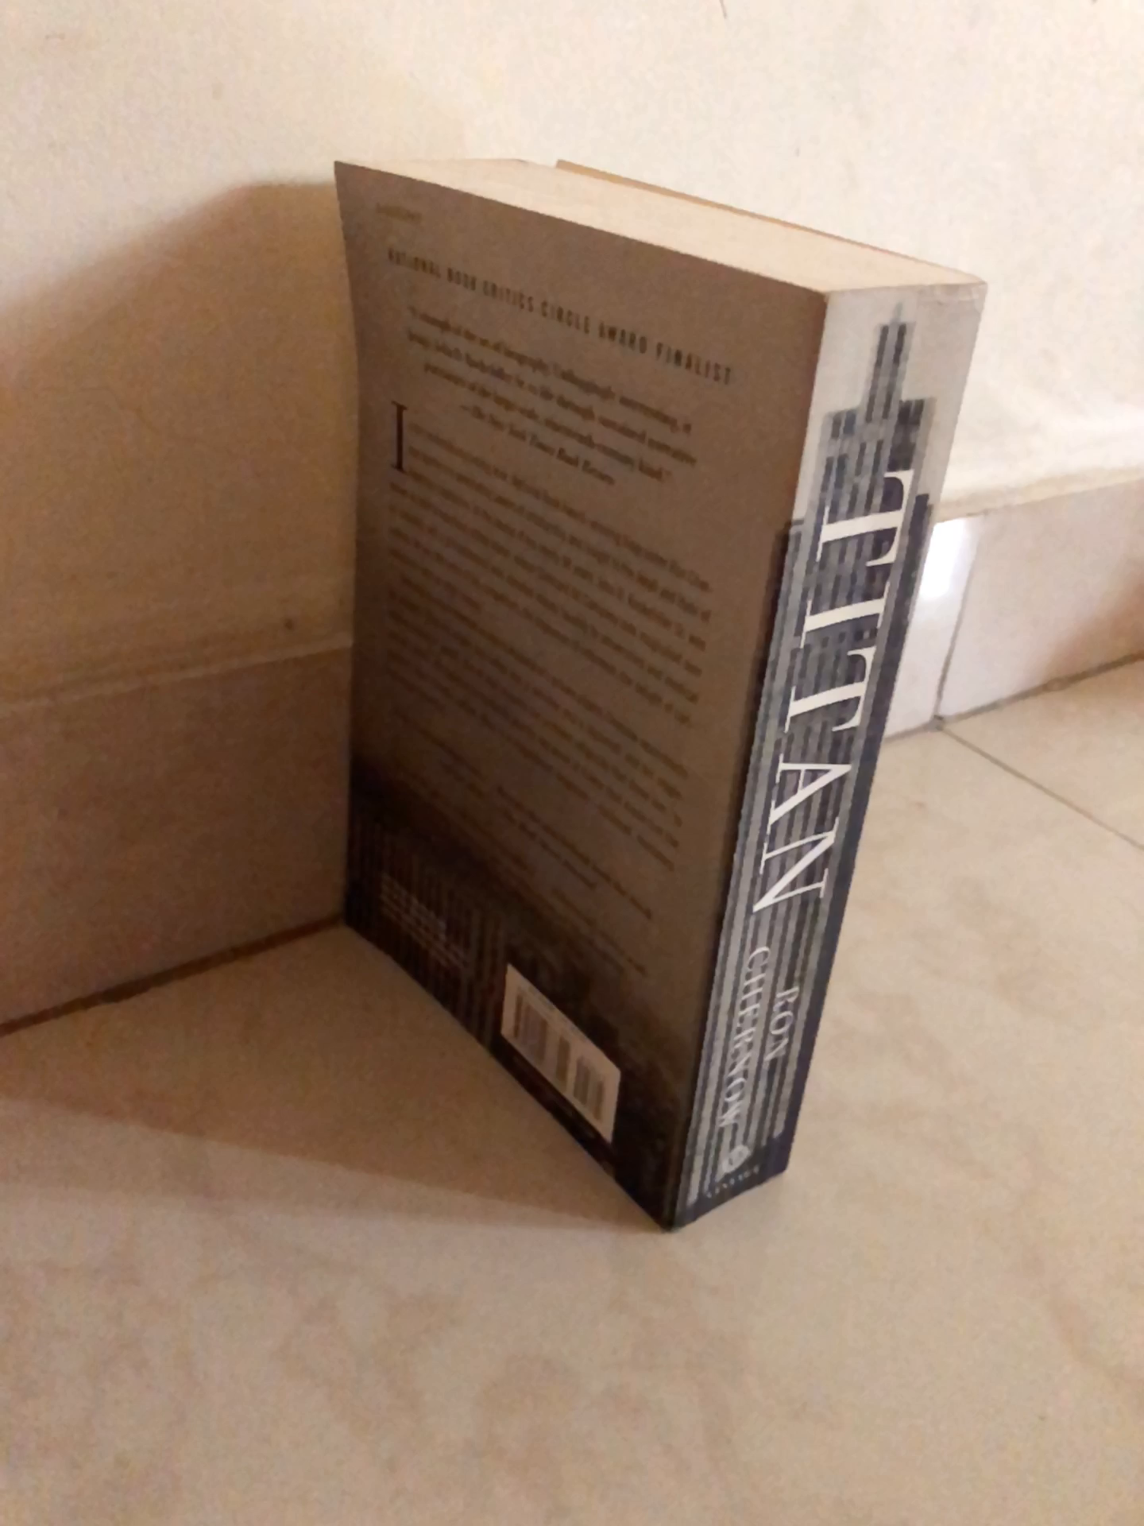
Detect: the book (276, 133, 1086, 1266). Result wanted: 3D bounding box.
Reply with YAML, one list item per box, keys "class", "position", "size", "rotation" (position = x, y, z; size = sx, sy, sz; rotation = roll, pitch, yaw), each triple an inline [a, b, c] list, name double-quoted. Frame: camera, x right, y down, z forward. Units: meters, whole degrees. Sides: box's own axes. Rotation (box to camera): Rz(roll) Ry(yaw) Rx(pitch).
- class: "book"
  position: [0.000, -0.028, 0.338]
  size: [0.060, 0.229, 0.201]
  rotation: [-18, 37, -34]
